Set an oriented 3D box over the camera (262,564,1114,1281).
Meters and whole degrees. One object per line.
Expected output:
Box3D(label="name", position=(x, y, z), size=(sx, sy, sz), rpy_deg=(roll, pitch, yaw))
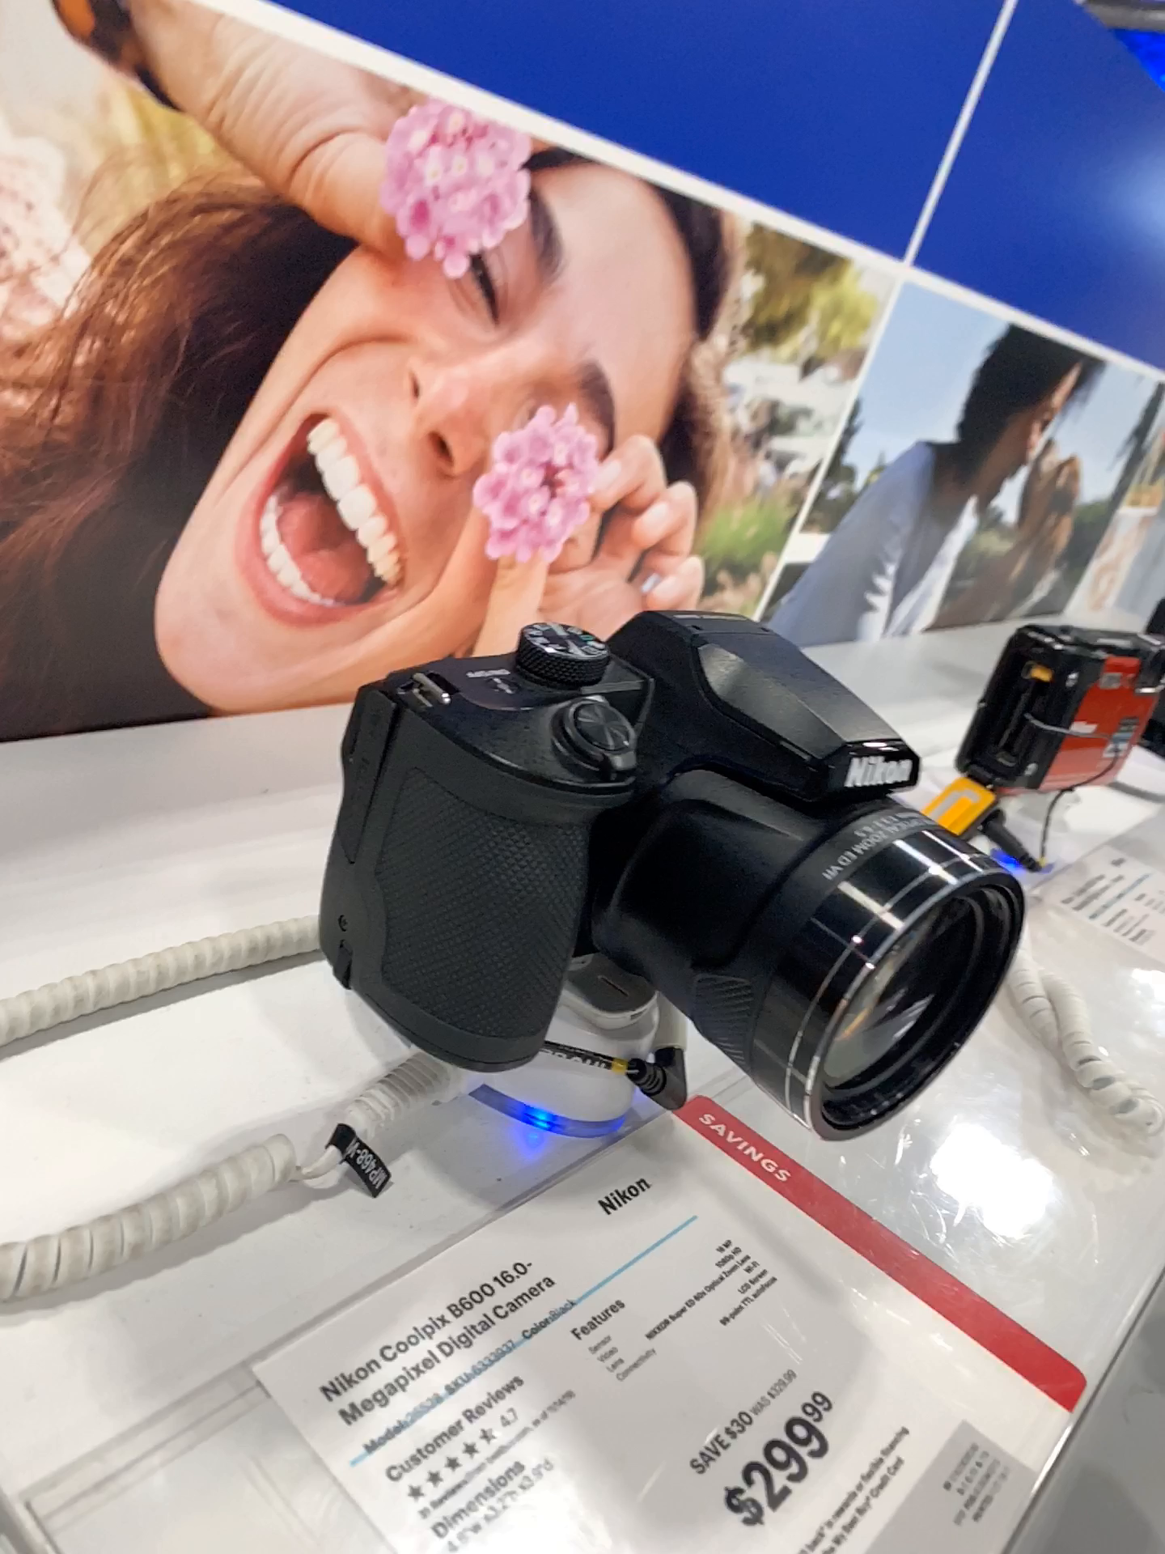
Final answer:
Box3D(label="camera", position=(0.020, 0.014, 0.244), size=(0.120, 0.080, 0.100), rpy_deg=(-6, 30, -45))
